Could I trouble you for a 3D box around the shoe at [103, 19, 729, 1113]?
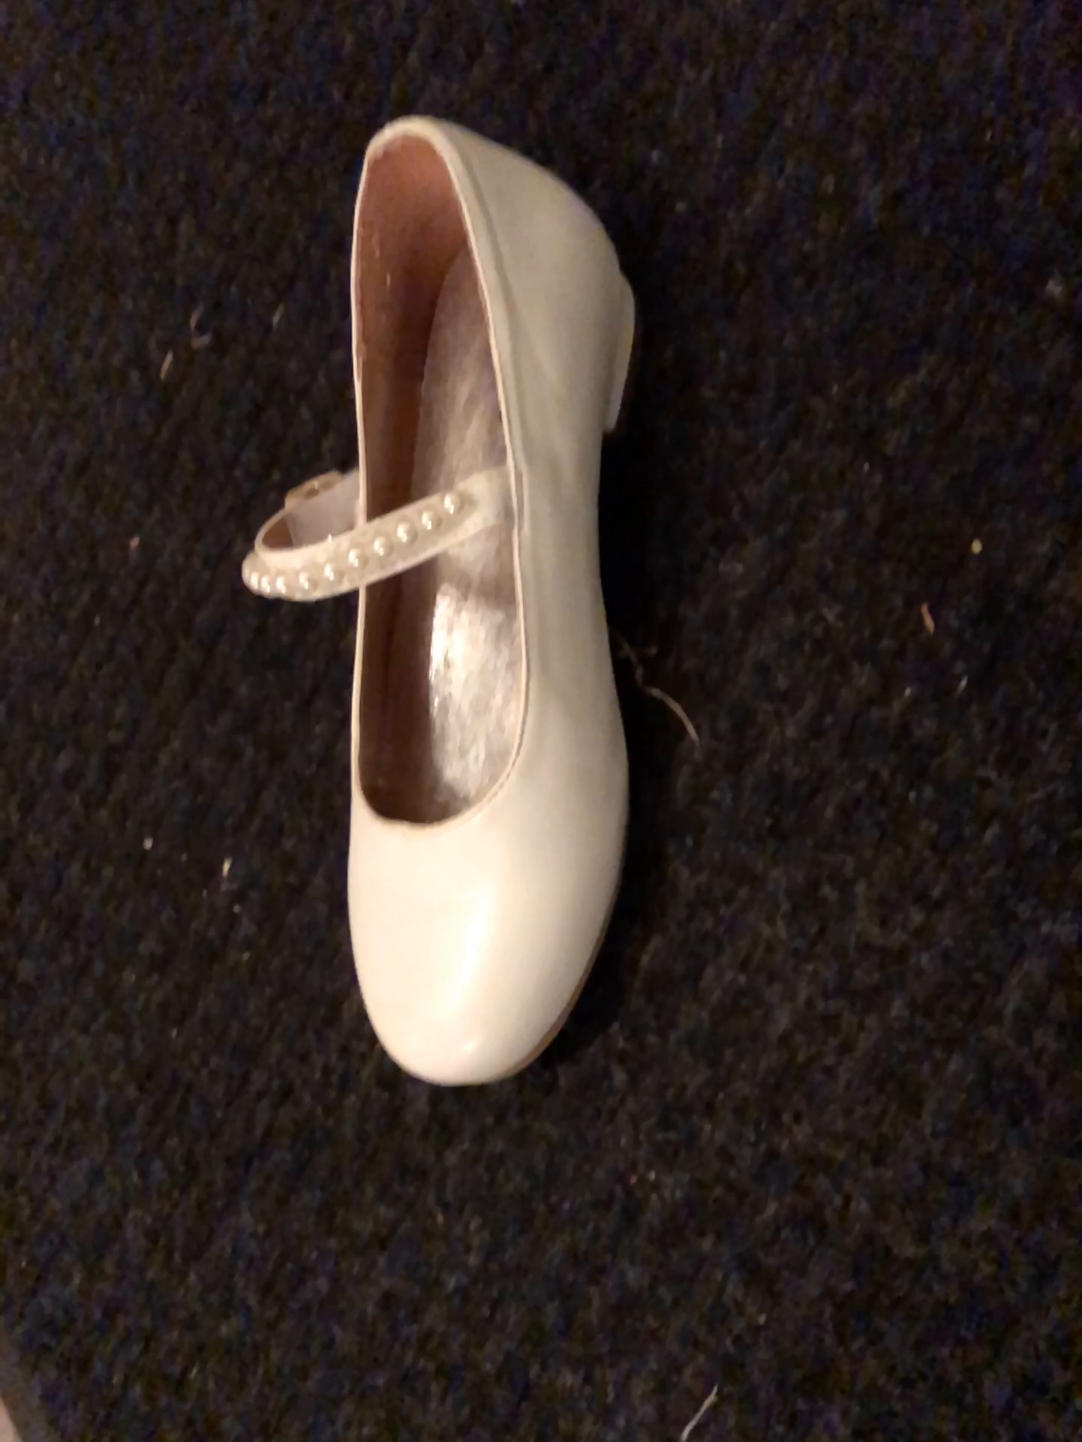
[{"bbox_3d":[-0.021,-0.026,0.266,0.080,0.080,0.200,-2,77,38],"label":"shoe"}]
